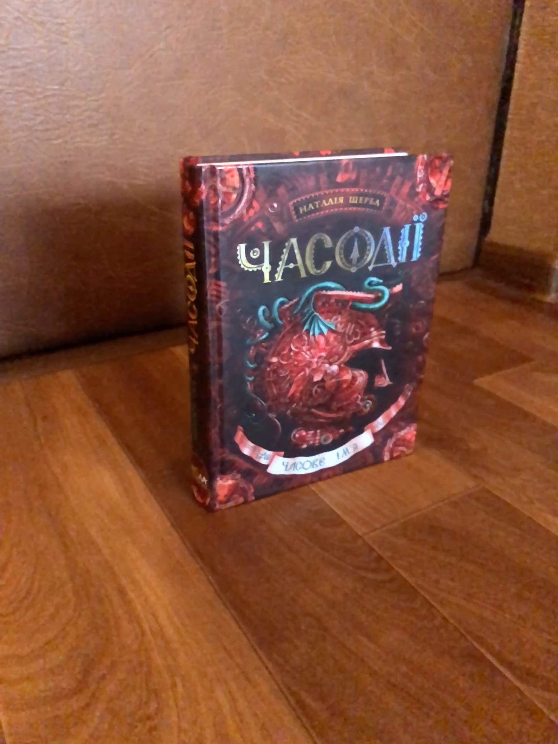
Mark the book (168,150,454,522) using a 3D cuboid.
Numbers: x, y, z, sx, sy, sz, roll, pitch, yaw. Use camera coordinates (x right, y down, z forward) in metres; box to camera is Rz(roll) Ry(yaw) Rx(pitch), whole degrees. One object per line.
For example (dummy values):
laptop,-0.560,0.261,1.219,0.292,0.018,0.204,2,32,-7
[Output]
book,0.021,-0.025,0.407,0.170,0.220,0.040,-12,28,-25
